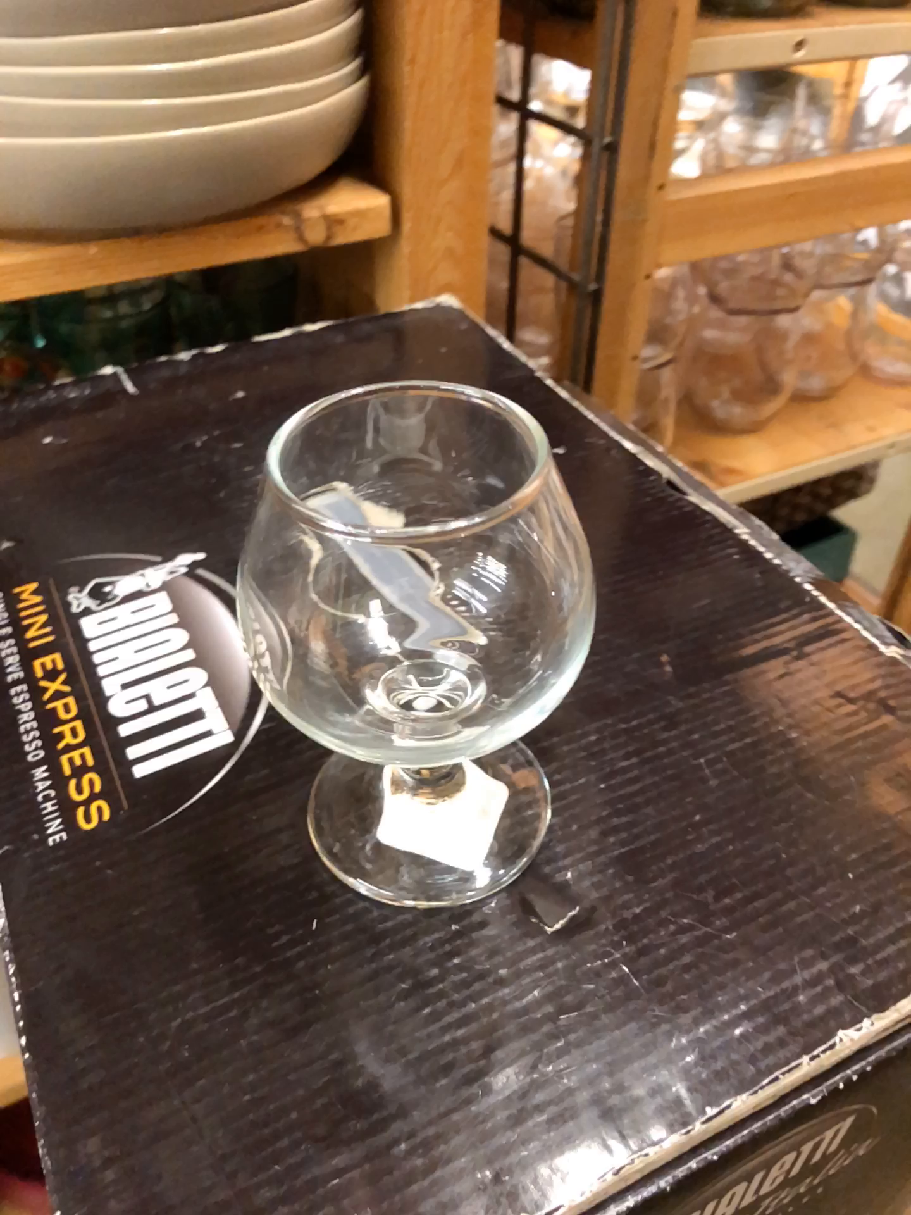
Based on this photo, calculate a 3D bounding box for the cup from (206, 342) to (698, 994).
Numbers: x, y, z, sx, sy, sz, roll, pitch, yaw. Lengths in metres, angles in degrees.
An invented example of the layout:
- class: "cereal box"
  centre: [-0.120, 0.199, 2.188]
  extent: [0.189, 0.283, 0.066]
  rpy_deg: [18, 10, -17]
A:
- class: "cup"
  centre: [-0.006, 0.012, 0.218]
  extent: [0.069, 0.106, 0.072]
  rpy_deg: [1, 38, -1]
